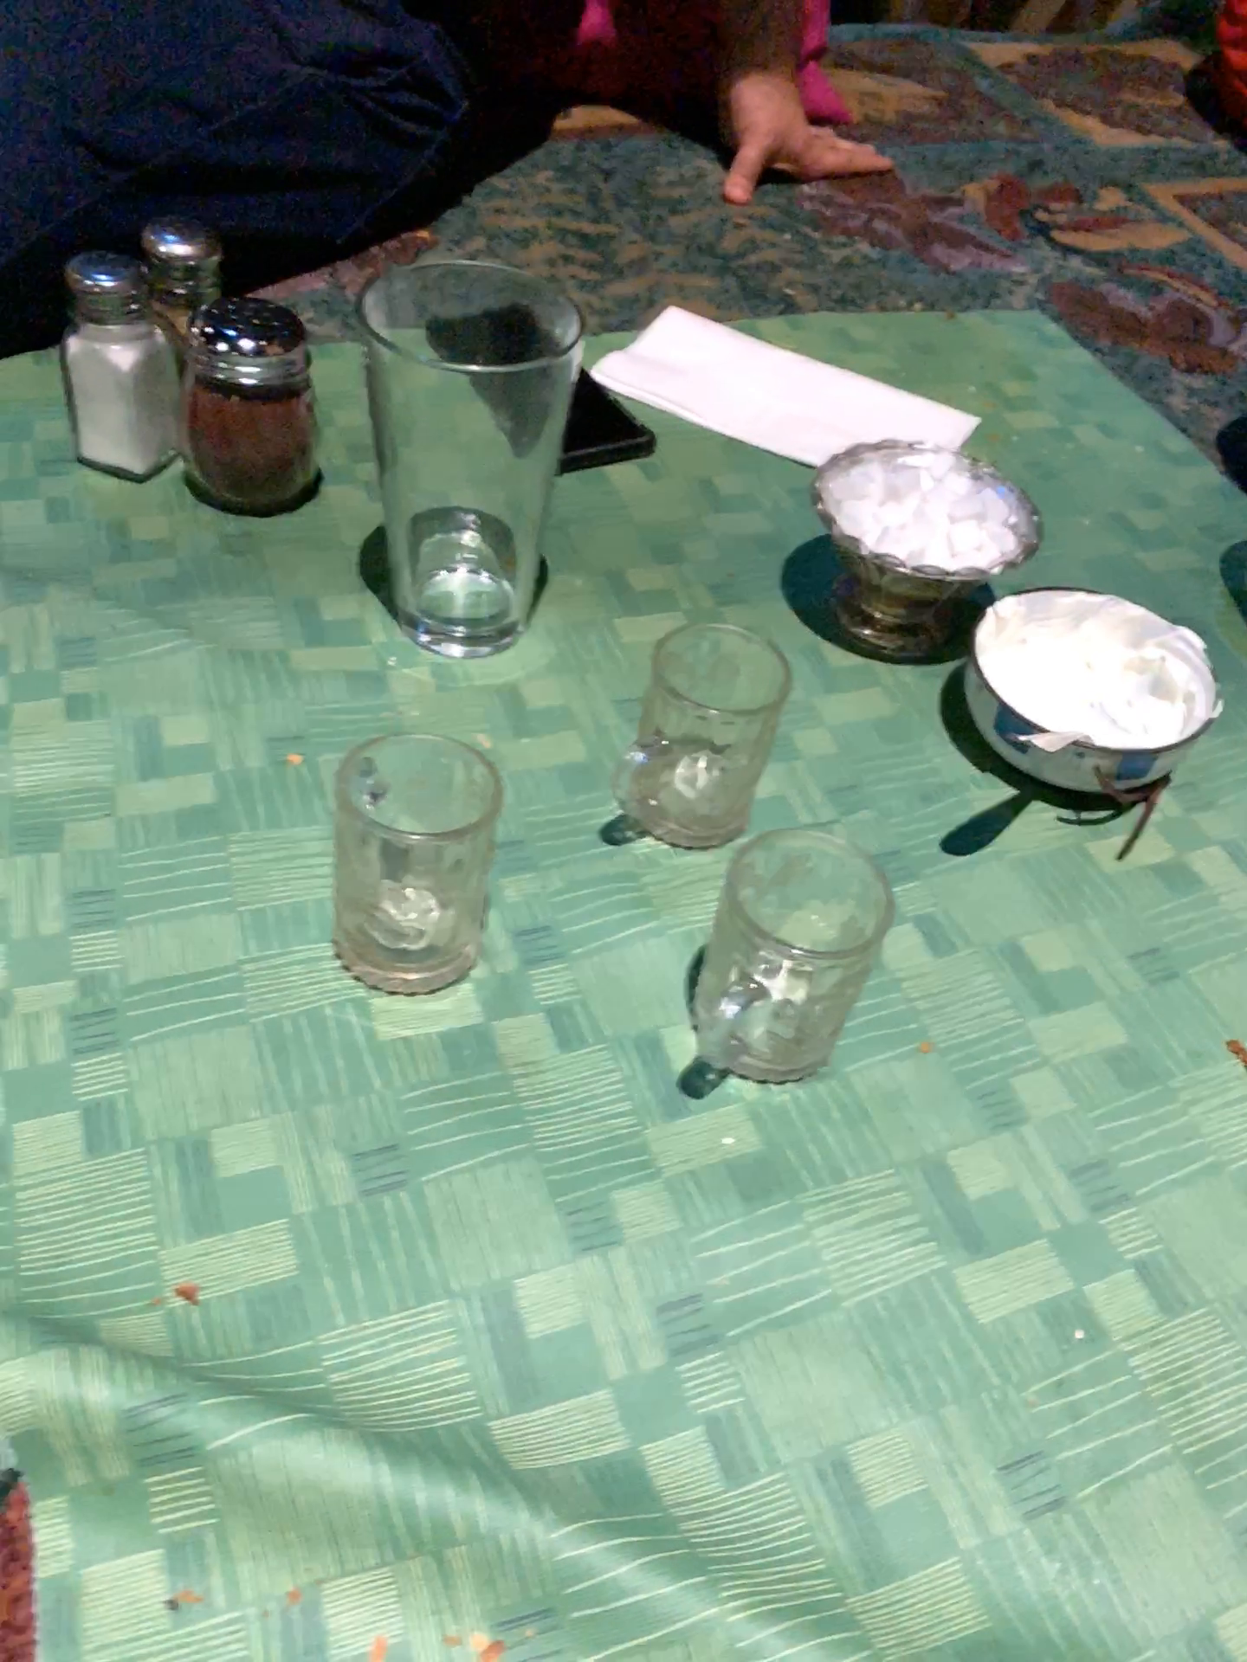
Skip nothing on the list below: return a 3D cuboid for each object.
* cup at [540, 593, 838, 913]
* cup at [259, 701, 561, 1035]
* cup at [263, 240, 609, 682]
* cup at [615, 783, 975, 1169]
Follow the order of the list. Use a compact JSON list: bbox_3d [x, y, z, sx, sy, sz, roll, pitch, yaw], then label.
[{"bbox_3d":[0.023,-0.031,0.473,0.060,0.060,0.090,33,51,20],"label":"cup"},{"bbox_3d":[-0.070,0.010,0.415,0.070,0.050,0.080,-15,51,-21],"label":"cup"},{"bbox_3d":[-0.082,-0.158,0.549,0.100,0.129,0.110,-16,52,-22],"label":"cup"},{"bbox_3d":[0.054,0.046,0.421,0.090,0.070,0.060,-33,60,-32],"label":"cup"}]
